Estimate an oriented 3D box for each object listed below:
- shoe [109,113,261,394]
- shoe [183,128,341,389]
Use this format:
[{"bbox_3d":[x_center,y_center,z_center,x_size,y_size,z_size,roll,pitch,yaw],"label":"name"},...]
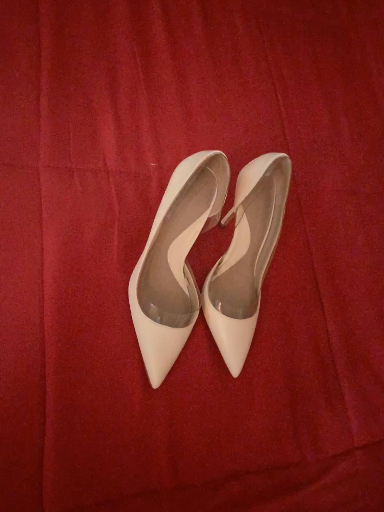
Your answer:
[{"bbox_3d":[-0.007,0.008,0.403,0.097,0.136,0.243,11,68,-16],"label":"shoe"},{"bbox_3d":[0.068,0.014,0.431,0.097,0.140,0.241,11,68,-16],"label":"shoe"}]
